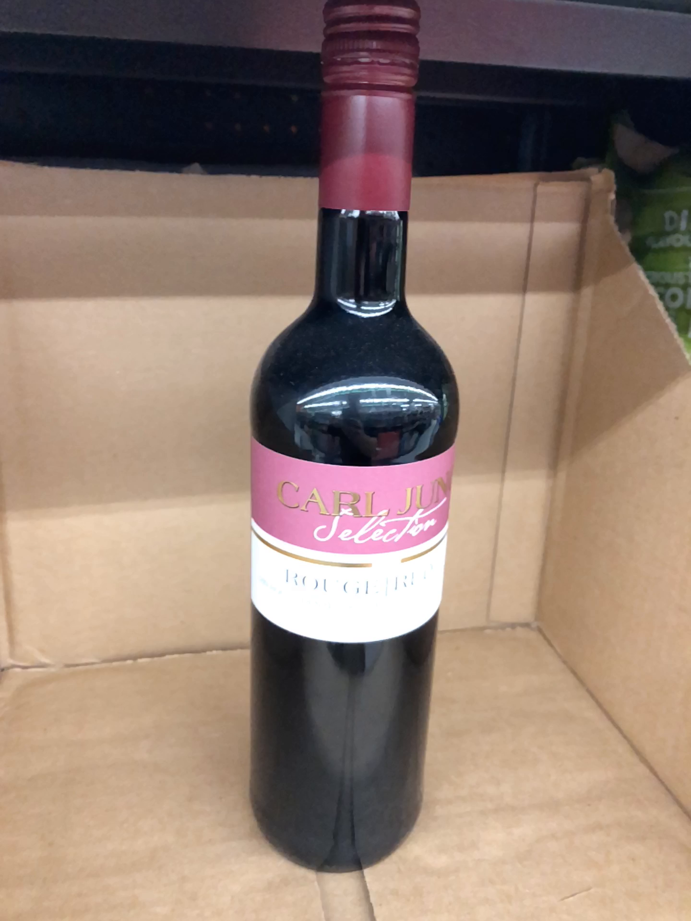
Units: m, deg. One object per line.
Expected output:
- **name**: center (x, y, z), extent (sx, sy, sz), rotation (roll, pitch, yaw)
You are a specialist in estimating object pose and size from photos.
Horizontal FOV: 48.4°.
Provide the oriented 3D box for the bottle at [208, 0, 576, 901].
- **bottle**: center (0.002, 0.006, 0.277), extent (0.090, 0.308, 0.081), rotation (-1, 21, -8)
